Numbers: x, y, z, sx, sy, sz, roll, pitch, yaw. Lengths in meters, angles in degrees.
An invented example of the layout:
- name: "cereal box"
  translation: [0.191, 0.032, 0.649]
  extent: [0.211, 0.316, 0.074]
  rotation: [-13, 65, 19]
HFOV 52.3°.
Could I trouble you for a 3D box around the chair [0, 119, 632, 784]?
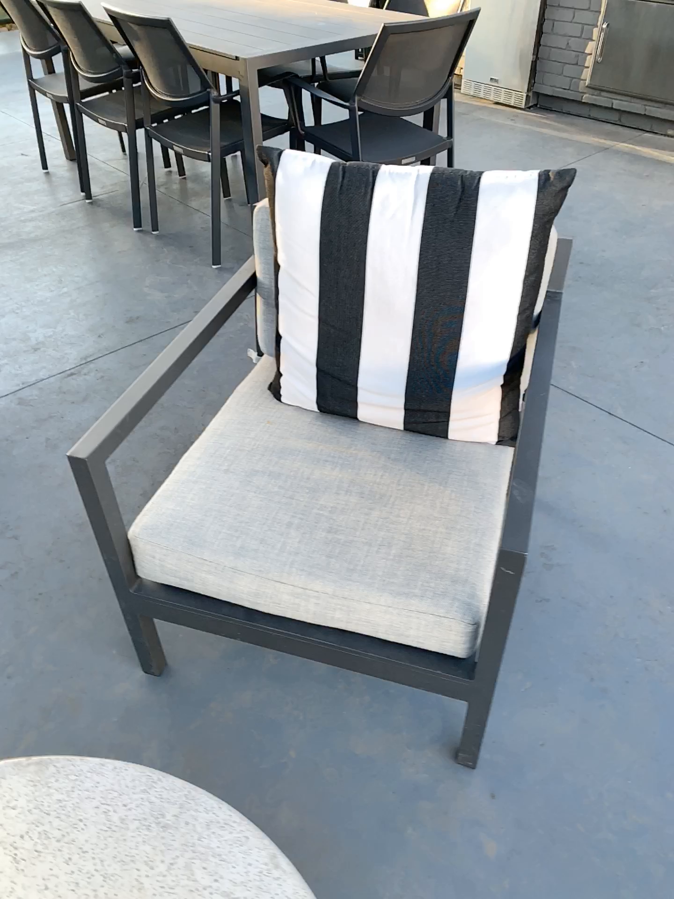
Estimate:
- name: "chair"
  translation: [0.035, -0.048, 1.246]
  extent: [0.730, 0.796, 0.753]
  rotation: [10, 41, 13]
